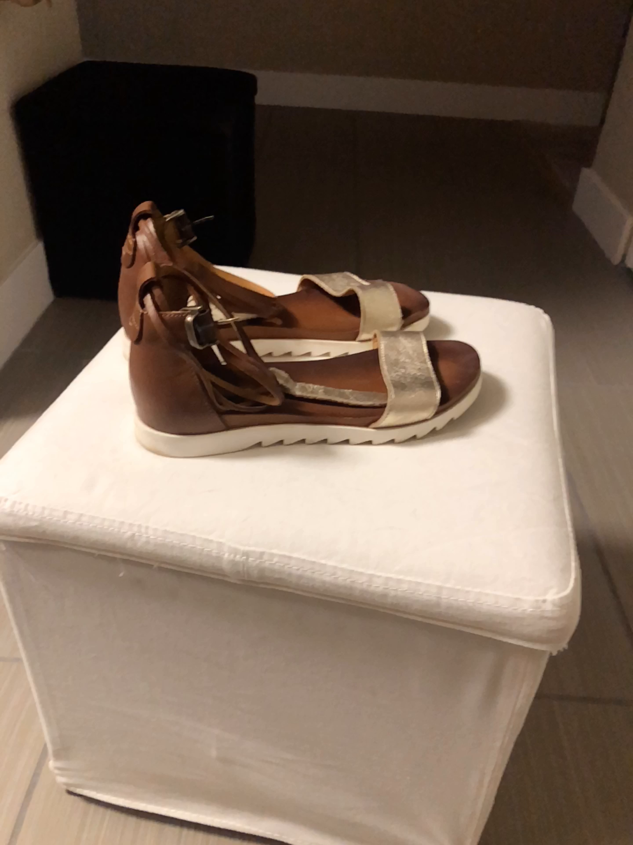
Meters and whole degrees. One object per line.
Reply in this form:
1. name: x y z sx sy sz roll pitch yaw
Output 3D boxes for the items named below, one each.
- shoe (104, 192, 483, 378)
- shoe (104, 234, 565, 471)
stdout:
1. shoe: -0.023 -0.112 0.541 0.260 0.090 0.111 -6 37 -13
2. shoe: 0.004 -0.053 0.452 0.260 0.090 0.111 -6 37 -13
